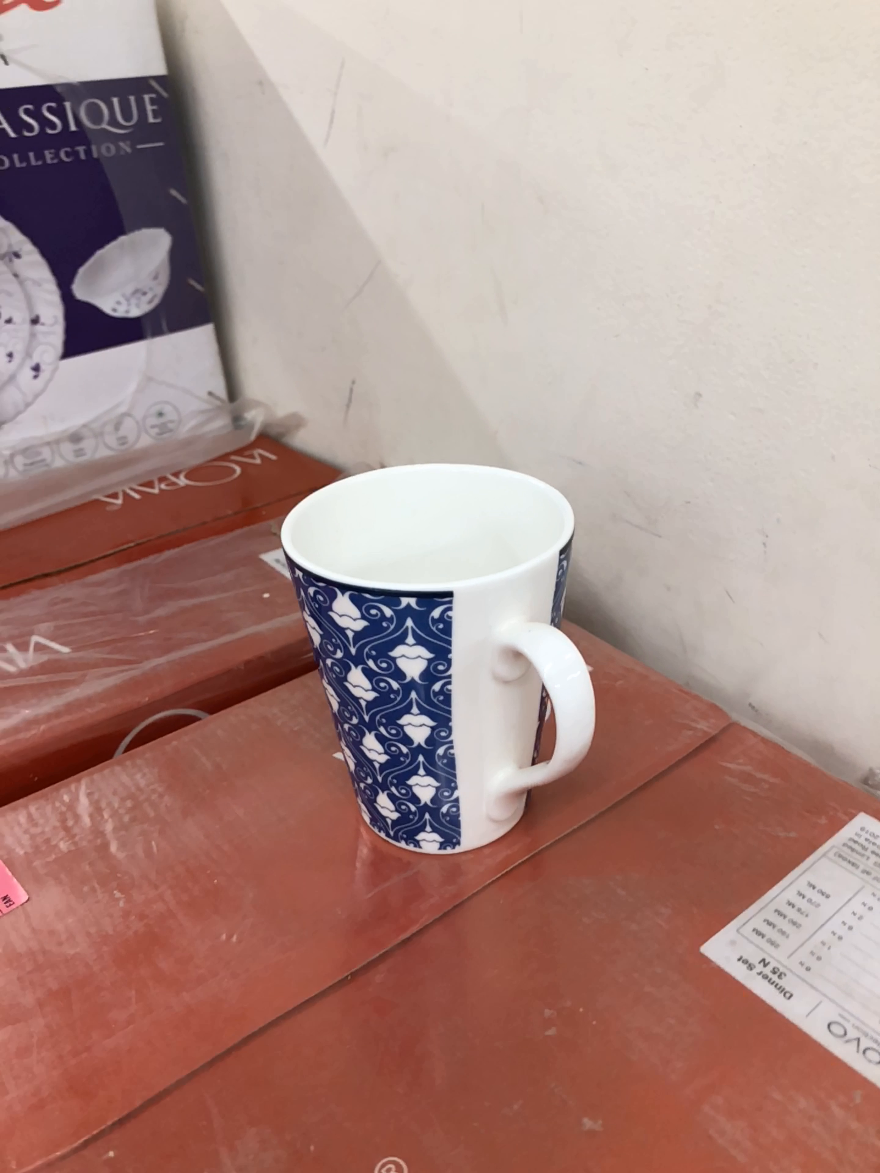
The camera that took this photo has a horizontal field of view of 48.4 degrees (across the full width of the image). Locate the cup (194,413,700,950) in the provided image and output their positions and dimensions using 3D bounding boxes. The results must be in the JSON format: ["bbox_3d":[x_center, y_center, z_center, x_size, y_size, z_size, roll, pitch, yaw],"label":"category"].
[{"bbox_3d":[0.000,0.018,0.298,0.120,0.099,0.080,24,39,39],"label":"cup"}]
